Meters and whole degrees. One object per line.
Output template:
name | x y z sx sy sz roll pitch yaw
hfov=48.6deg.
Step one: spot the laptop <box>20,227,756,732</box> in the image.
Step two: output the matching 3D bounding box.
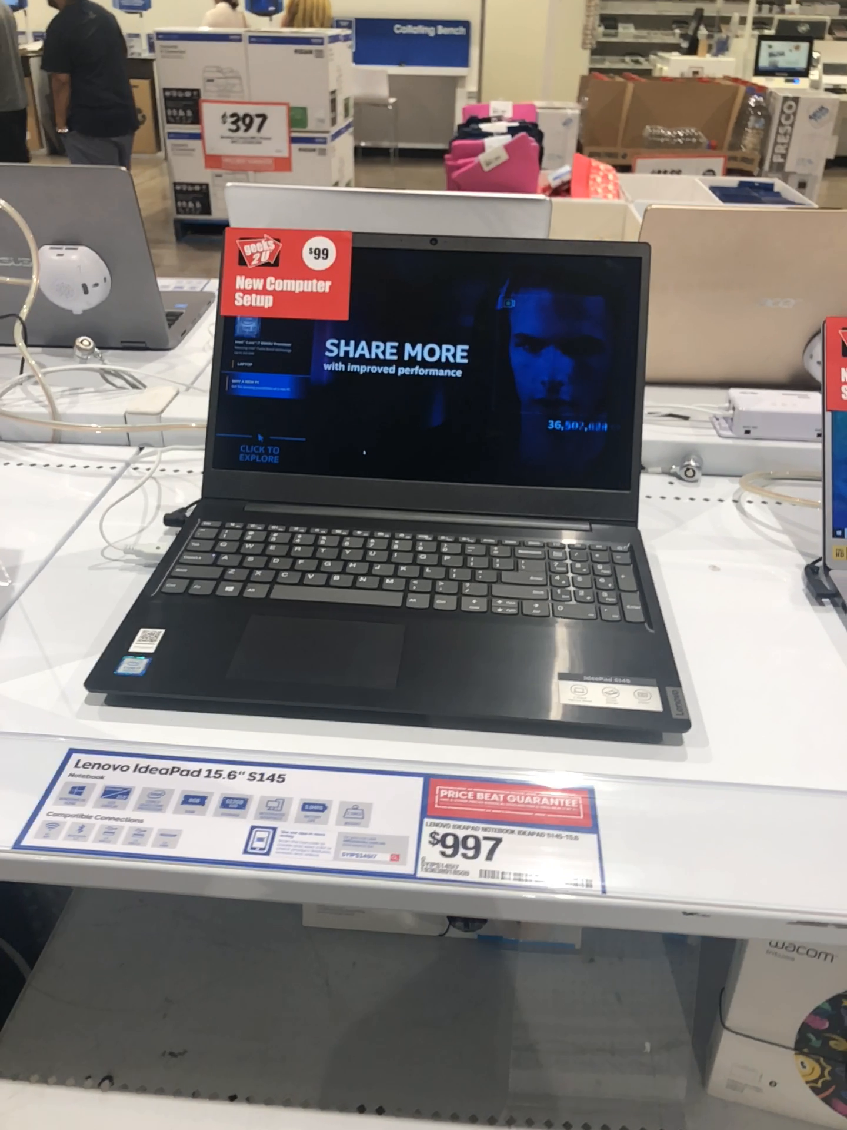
laptop | -0.008 -0.092 0.656 0.352 0.192 0.374 3 30 3
